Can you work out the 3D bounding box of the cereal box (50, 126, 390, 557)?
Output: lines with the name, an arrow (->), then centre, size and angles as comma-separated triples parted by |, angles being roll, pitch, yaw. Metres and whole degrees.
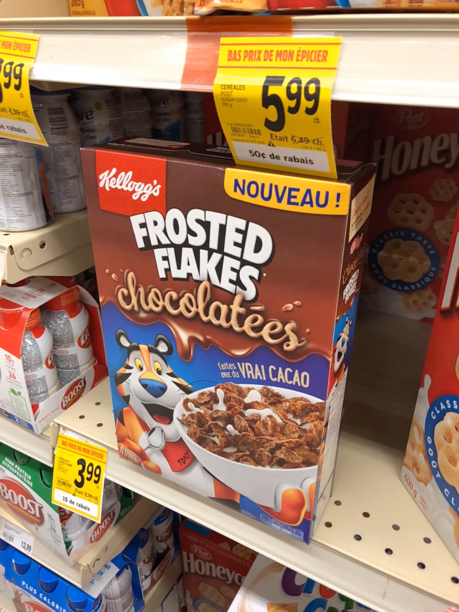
cereal box -> -0.014, 0.023, 0.386 | 0.210, 0.278, 0.070 | 16, 31, 26
